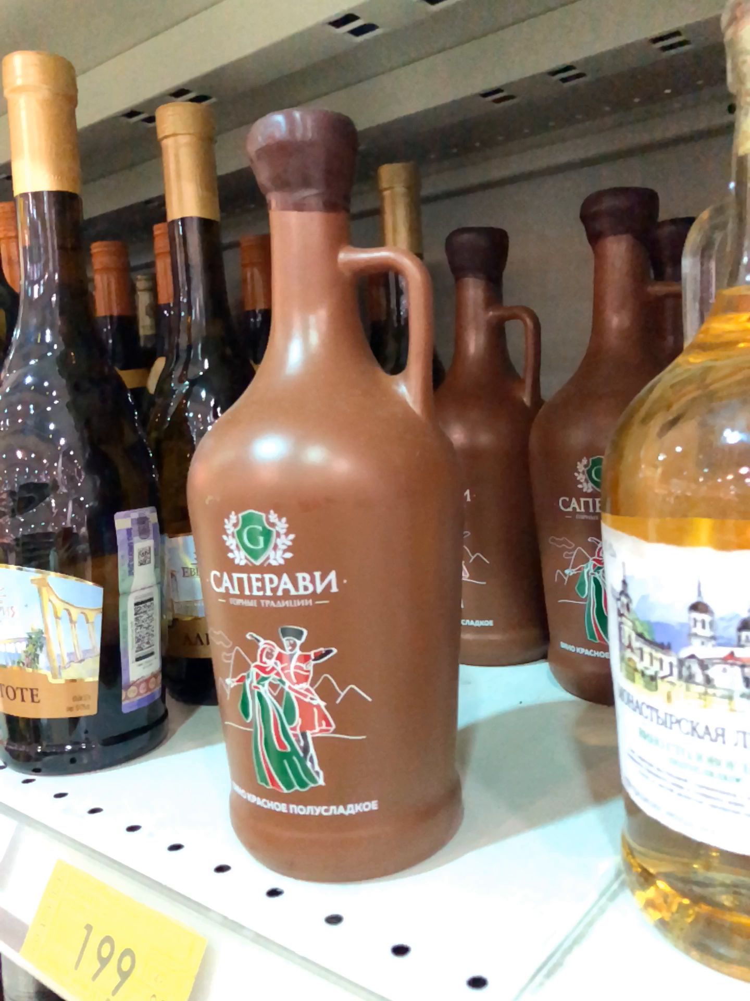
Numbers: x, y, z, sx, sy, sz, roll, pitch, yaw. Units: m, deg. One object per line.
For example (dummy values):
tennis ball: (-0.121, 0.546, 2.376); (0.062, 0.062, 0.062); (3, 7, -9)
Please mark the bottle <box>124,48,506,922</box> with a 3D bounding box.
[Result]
bottle: (-0.014, -0.004, 0.295); (0.090, 0.250, 0.090); (-3, 5, 0)
